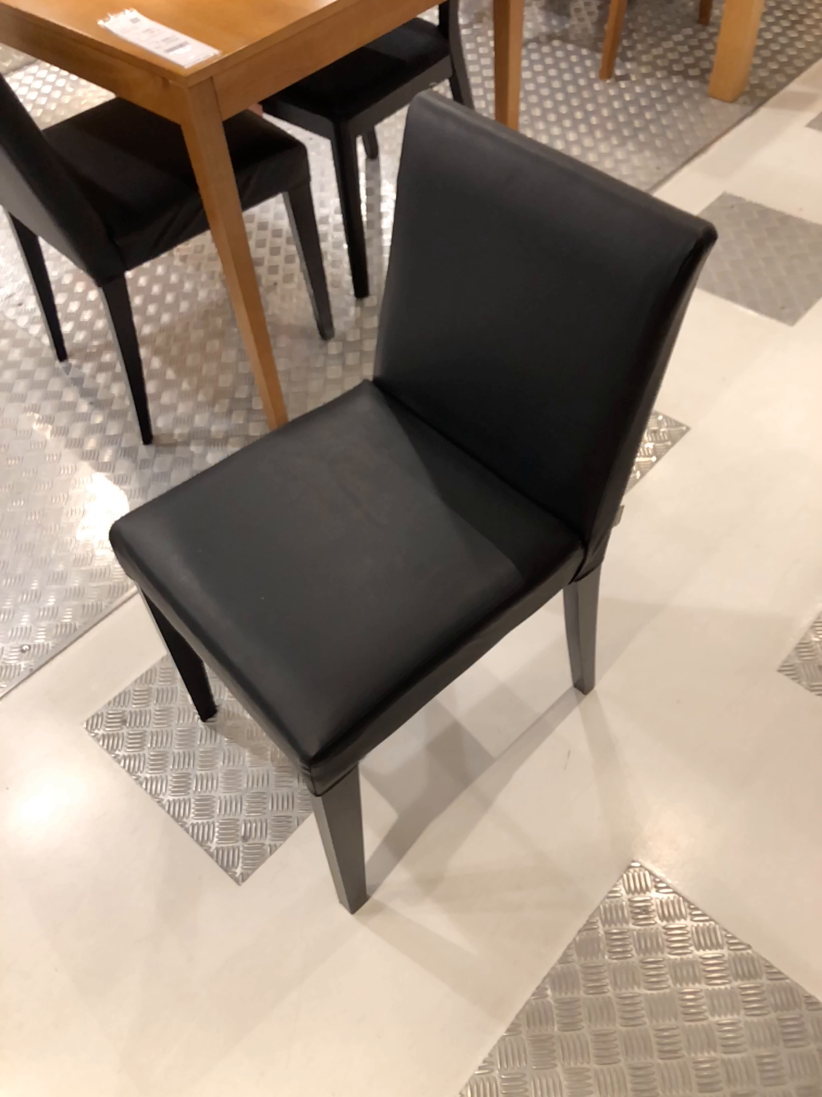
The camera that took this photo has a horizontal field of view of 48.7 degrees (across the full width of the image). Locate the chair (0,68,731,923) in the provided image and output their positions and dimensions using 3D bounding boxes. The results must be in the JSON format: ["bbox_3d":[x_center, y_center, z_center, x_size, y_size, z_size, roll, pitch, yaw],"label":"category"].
[{"bbox_3d":[-0.047,-0.019,1.157,0.551,0.825,0.472,-35,57,-21],"label":"chair"}]
